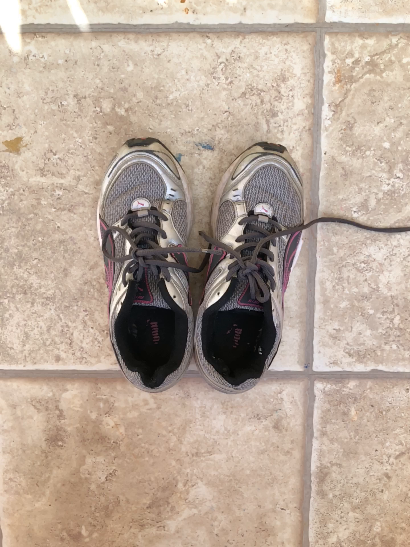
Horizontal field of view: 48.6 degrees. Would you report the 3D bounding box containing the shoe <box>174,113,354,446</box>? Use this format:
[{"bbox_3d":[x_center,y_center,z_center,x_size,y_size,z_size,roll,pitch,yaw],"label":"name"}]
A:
[{"bbox_3d":[0.047,0.002,0.452,0.110,0.140,0.270,8,97,0],"label":"shoe"}]

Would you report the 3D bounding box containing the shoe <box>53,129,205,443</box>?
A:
[{"bbox_3d":[-0.064,0.008,0.463,0.110,0.140,0.270,-3,97,1],"label":"shoe"}]
